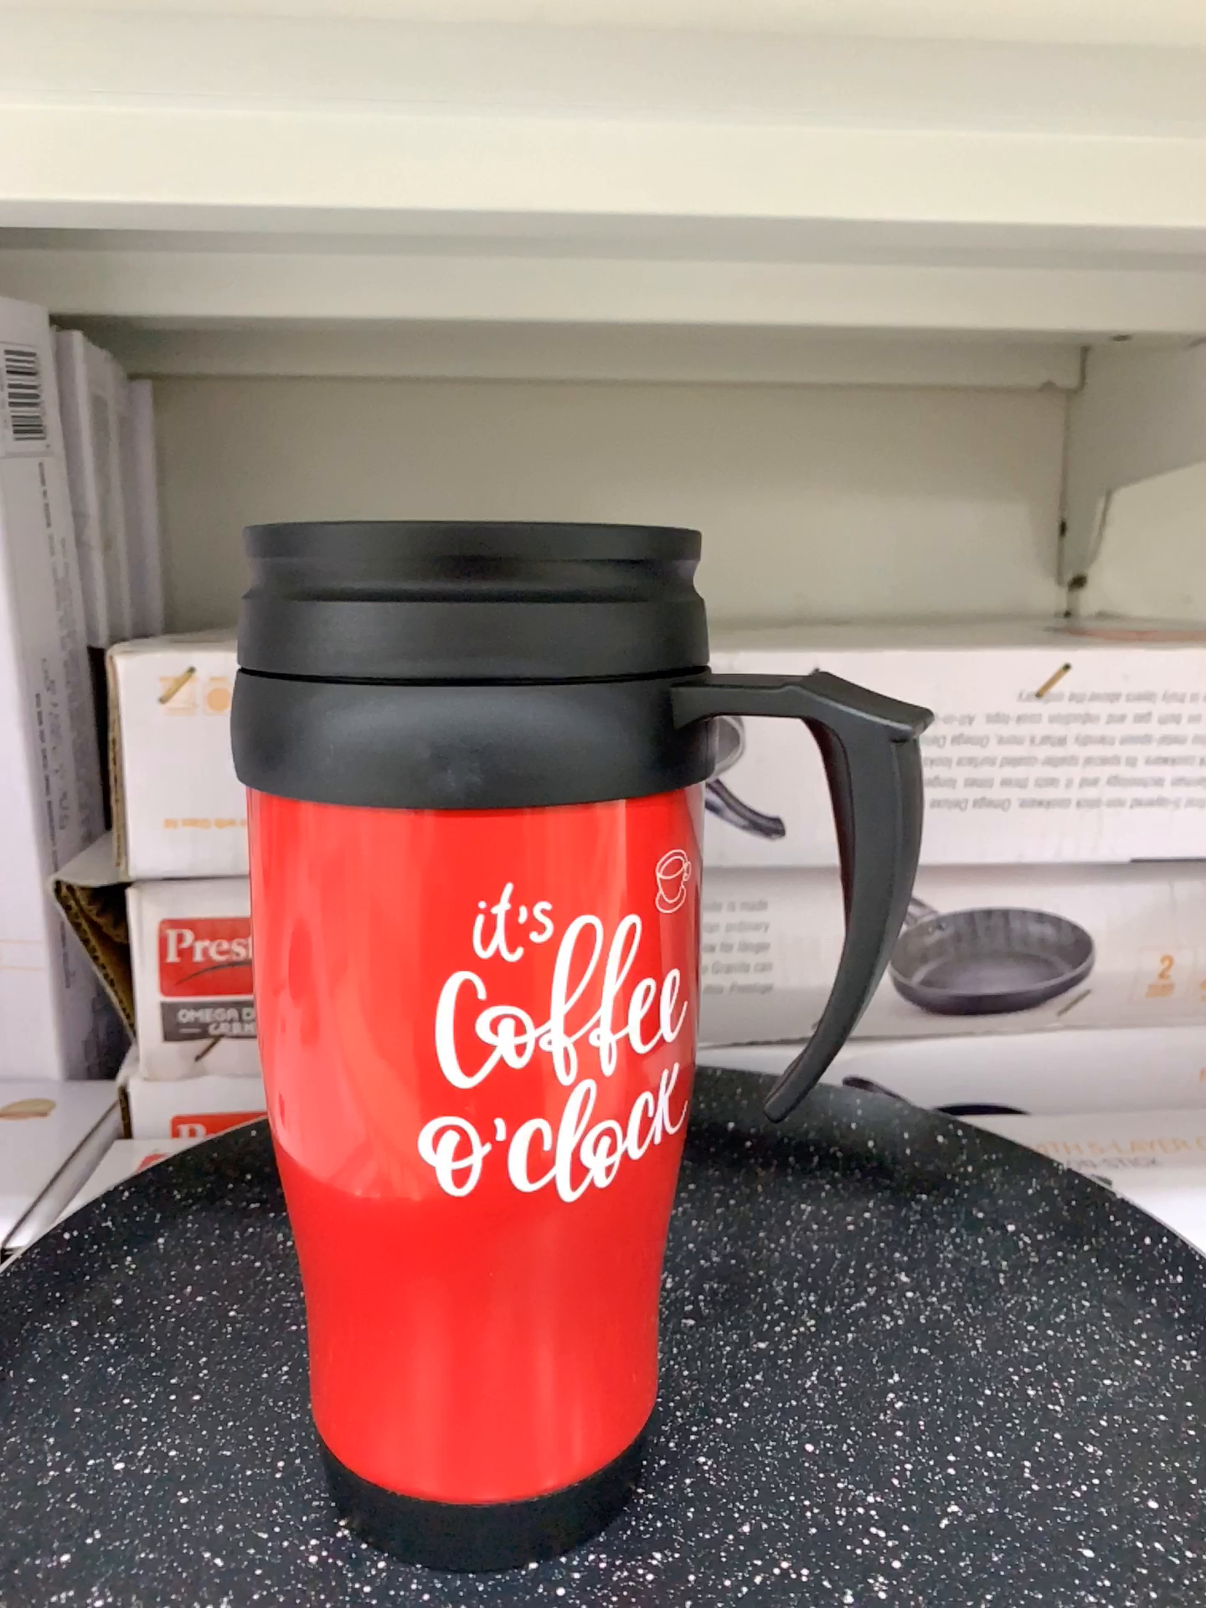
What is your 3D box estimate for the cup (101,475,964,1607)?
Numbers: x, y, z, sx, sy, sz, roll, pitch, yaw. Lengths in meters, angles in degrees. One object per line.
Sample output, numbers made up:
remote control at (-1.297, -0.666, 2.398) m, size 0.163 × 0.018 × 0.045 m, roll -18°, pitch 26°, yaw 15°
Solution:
cup at (-0.003, 0.035, 0.221) m, size 0.120 × 0.169 × 0.090 m, roll 3°, pitch 9°, yaw 16°
